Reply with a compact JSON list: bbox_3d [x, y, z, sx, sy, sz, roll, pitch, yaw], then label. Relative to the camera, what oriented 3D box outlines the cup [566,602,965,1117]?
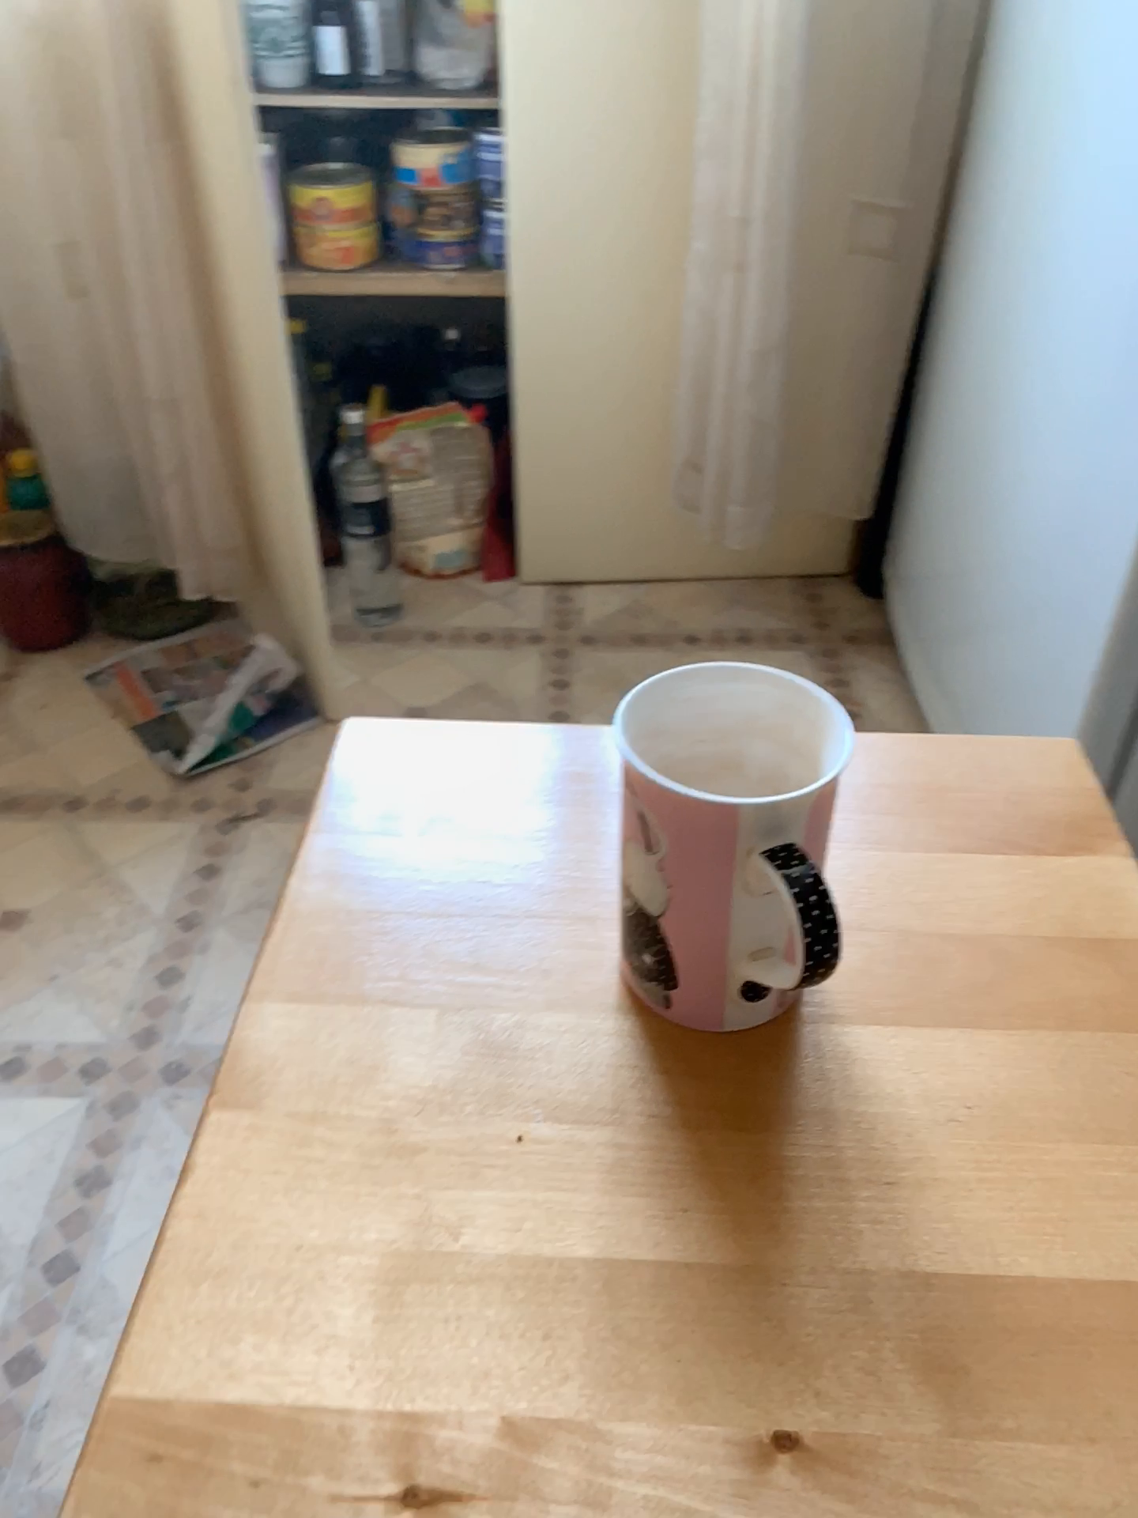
[{"bbox_3d":[0.054,0.028,0.387,0.074,0.107,0.114,-13,39,-17],"label":"cup"}]
